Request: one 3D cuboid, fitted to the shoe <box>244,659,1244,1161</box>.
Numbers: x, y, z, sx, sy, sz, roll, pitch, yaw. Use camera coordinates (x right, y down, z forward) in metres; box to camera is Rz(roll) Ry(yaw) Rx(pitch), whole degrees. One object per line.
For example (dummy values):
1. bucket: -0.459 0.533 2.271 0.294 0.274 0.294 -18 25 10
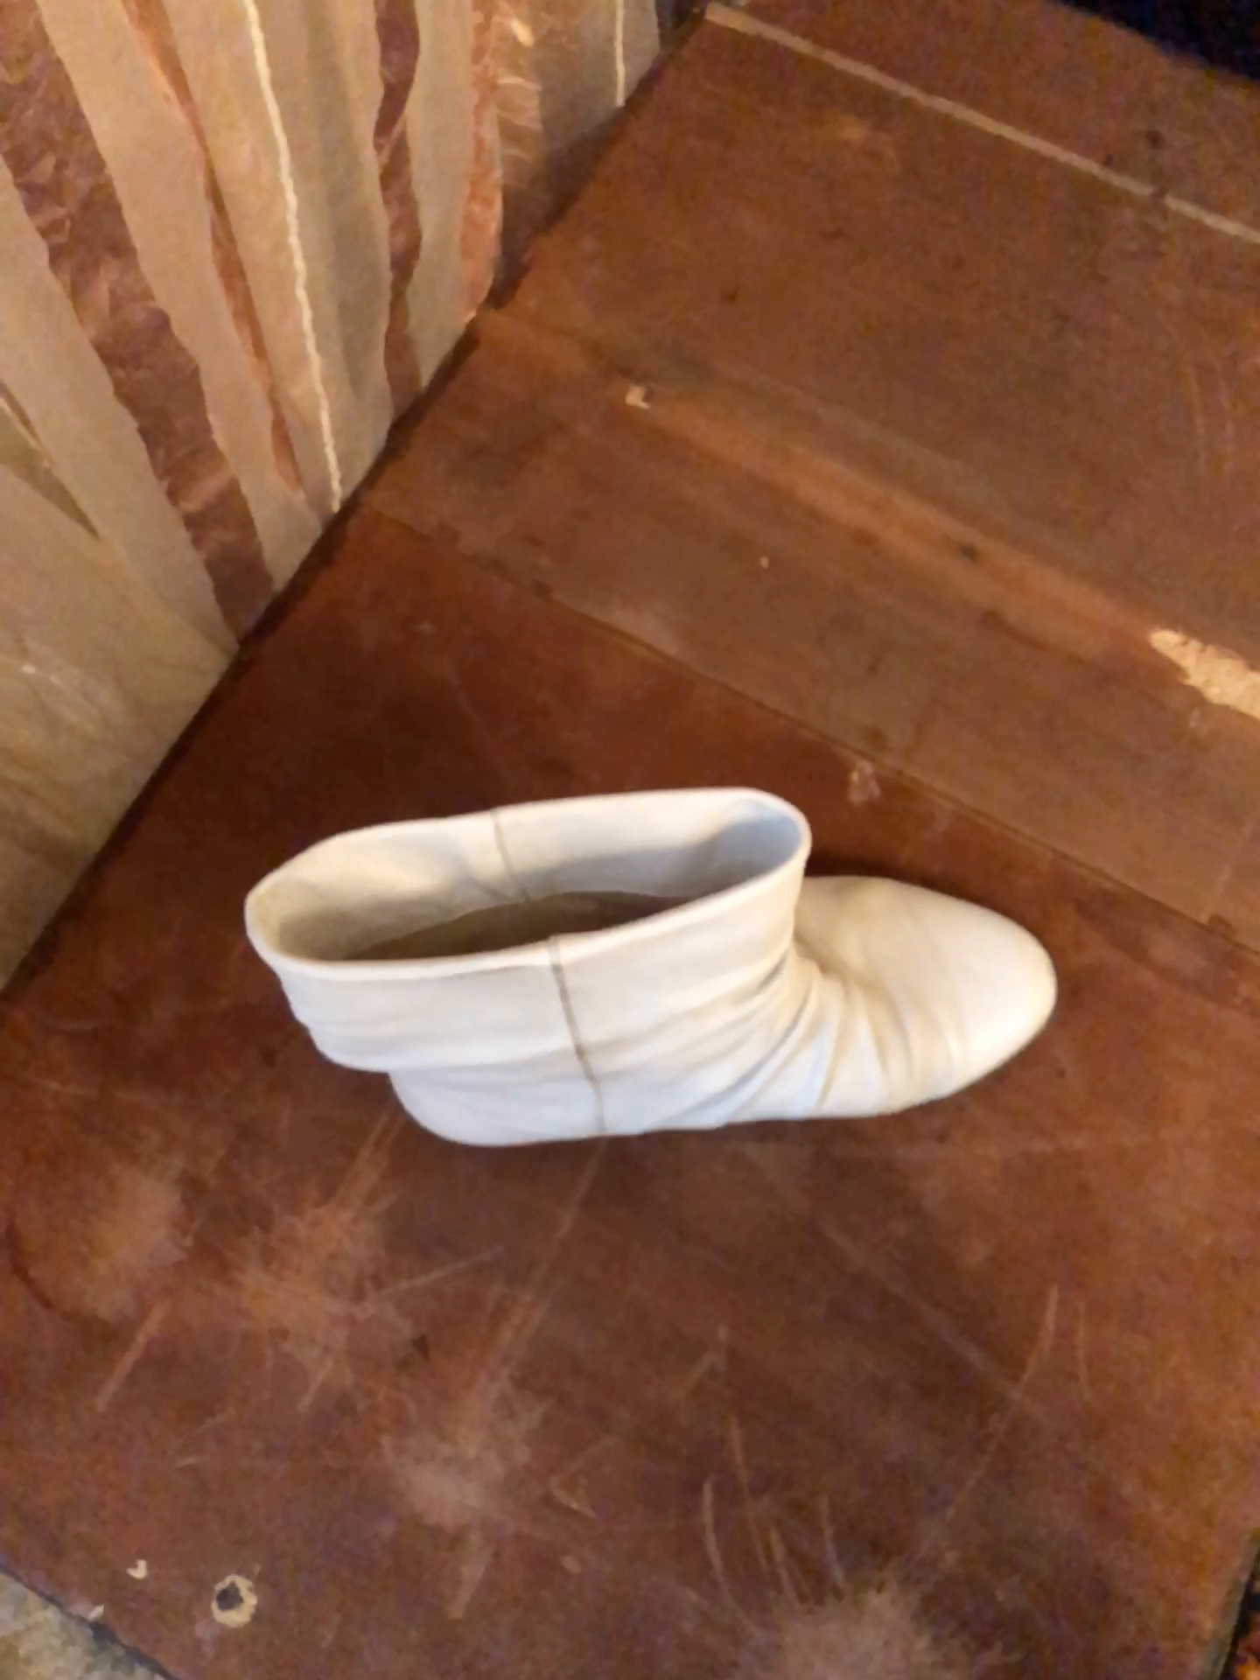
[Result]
1. shoe: 0.024 0.033 0.430 0.240 0.170 0.090 -5 71 -2
